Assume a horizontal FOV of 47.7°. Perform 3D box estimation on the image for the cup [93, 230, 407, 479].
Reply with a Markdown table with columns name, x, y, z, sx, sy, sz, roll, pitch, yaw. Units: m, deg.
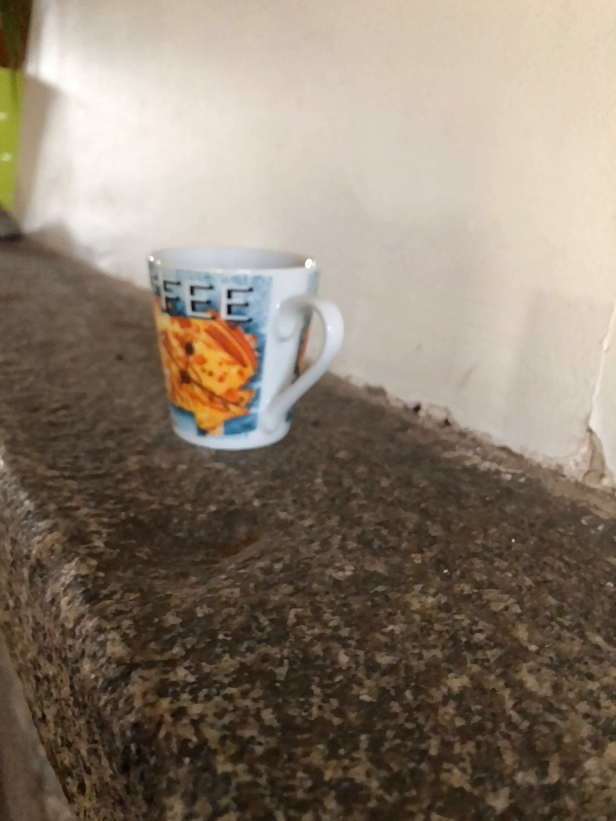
| name | x | y | z | sx | sy | sz | roll | pitch | yaw |
| --- | --- | --- | --- | --- | --- | --- | --- | --- | --- |
| cup | -0.020 | -0.025 | 0.230 | 0.080 | 0.060 | 0.060 | 17 | 22 | 37 |
